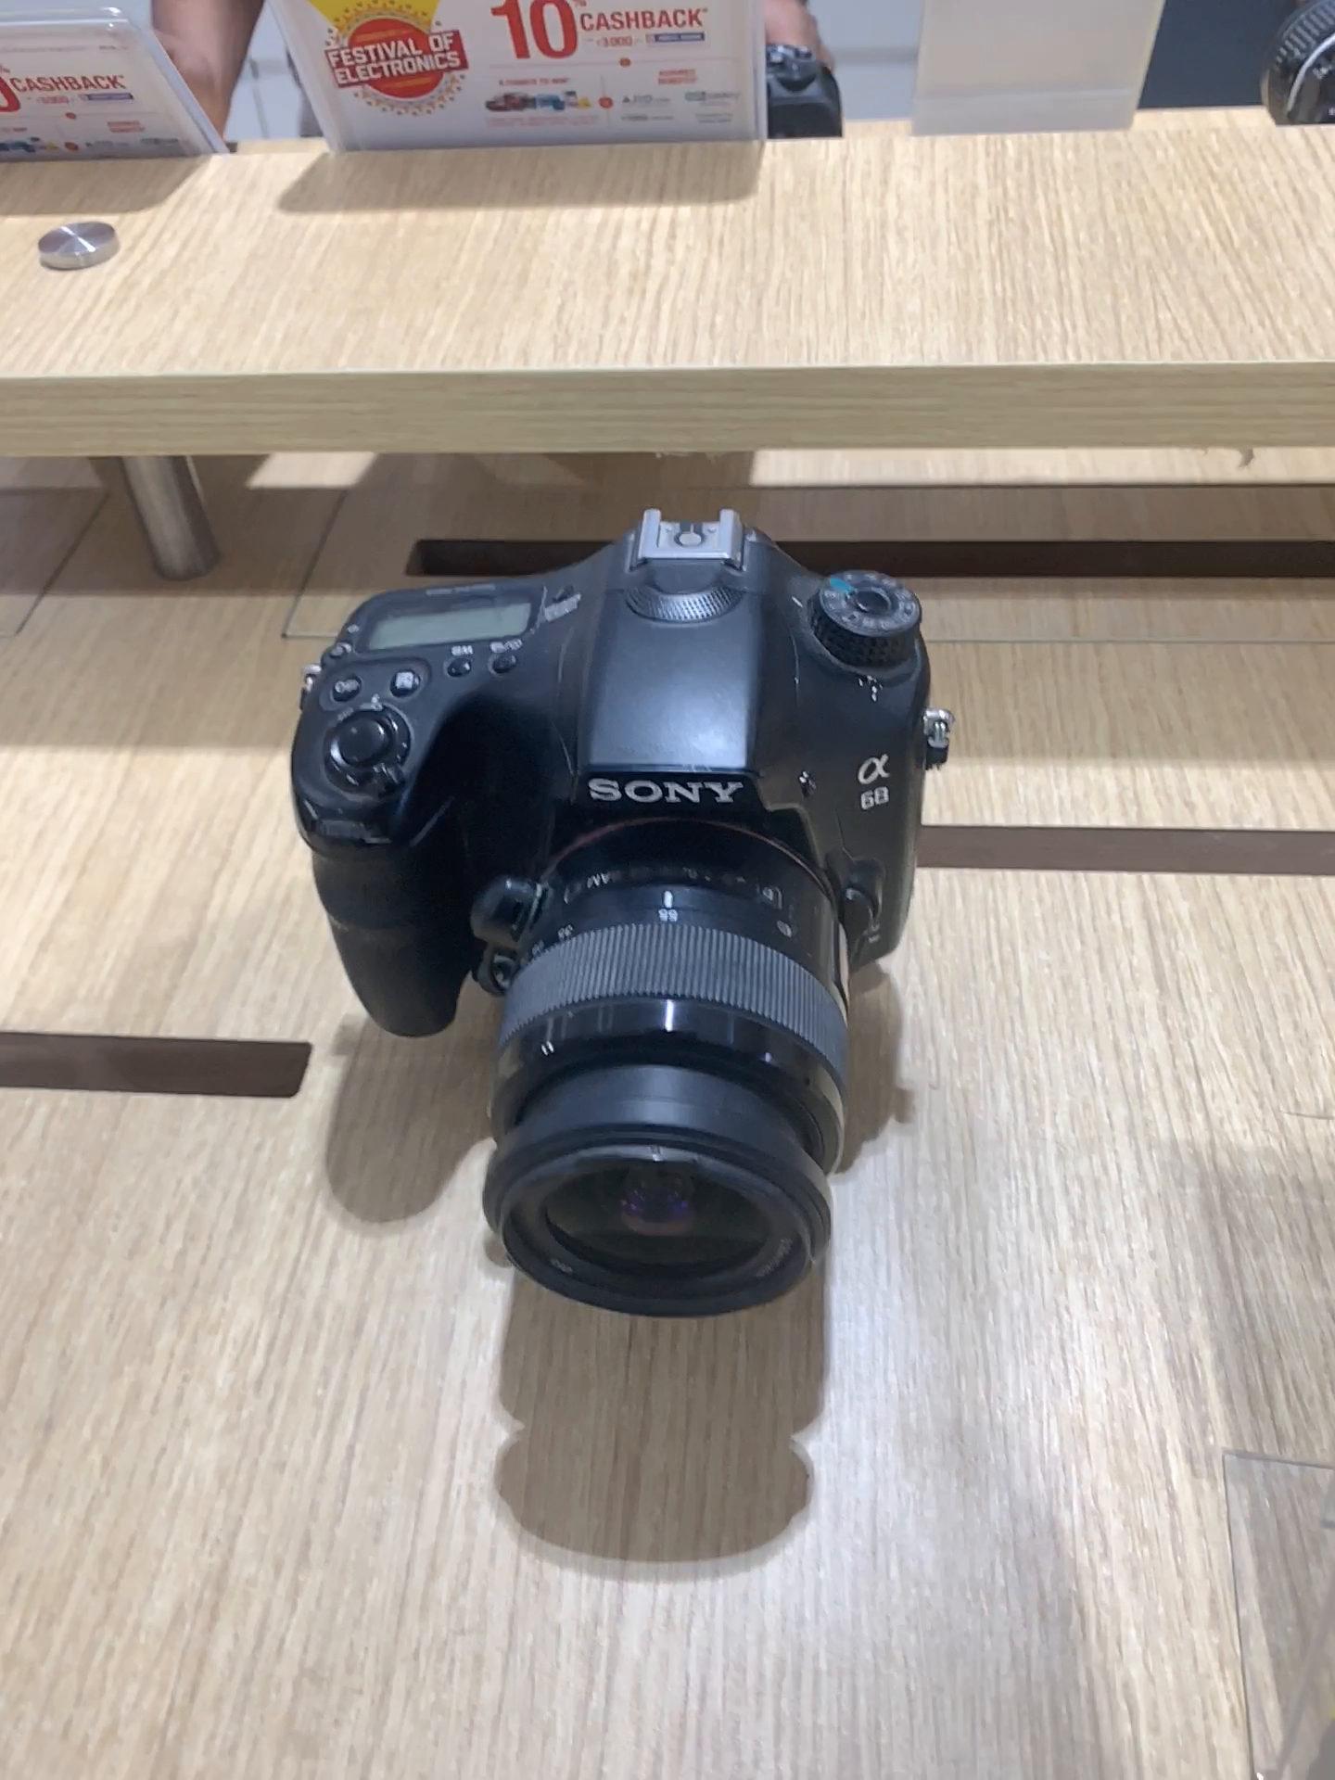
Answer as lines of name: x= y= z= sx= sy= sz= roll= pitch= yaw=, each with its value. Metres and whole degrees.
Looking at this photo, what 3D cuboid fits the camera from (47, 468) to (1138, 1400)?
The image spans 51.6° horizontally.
camera: x=-0.004 y=0.001 z=0.275 sx=0.150 sy=0.100 sz=0.150 roll=2 pitch=48 yaw=6
